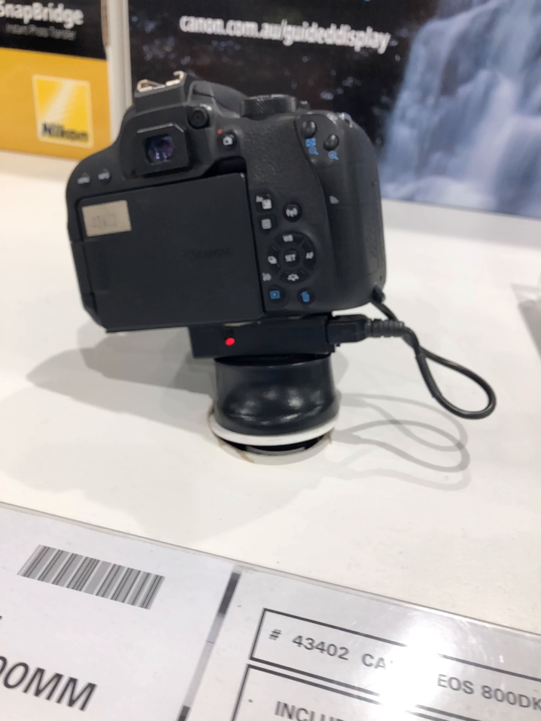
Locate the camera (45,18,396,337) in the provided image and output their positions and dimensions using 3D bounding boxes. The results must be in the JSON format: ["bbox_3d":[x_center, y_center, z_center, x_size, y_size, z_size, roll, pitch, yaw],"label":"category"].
[{"bbox_3d":[-0.017,-0.074,0.279,0.130,0.105,0.070,-5,10,18],"label":"camera"}]
